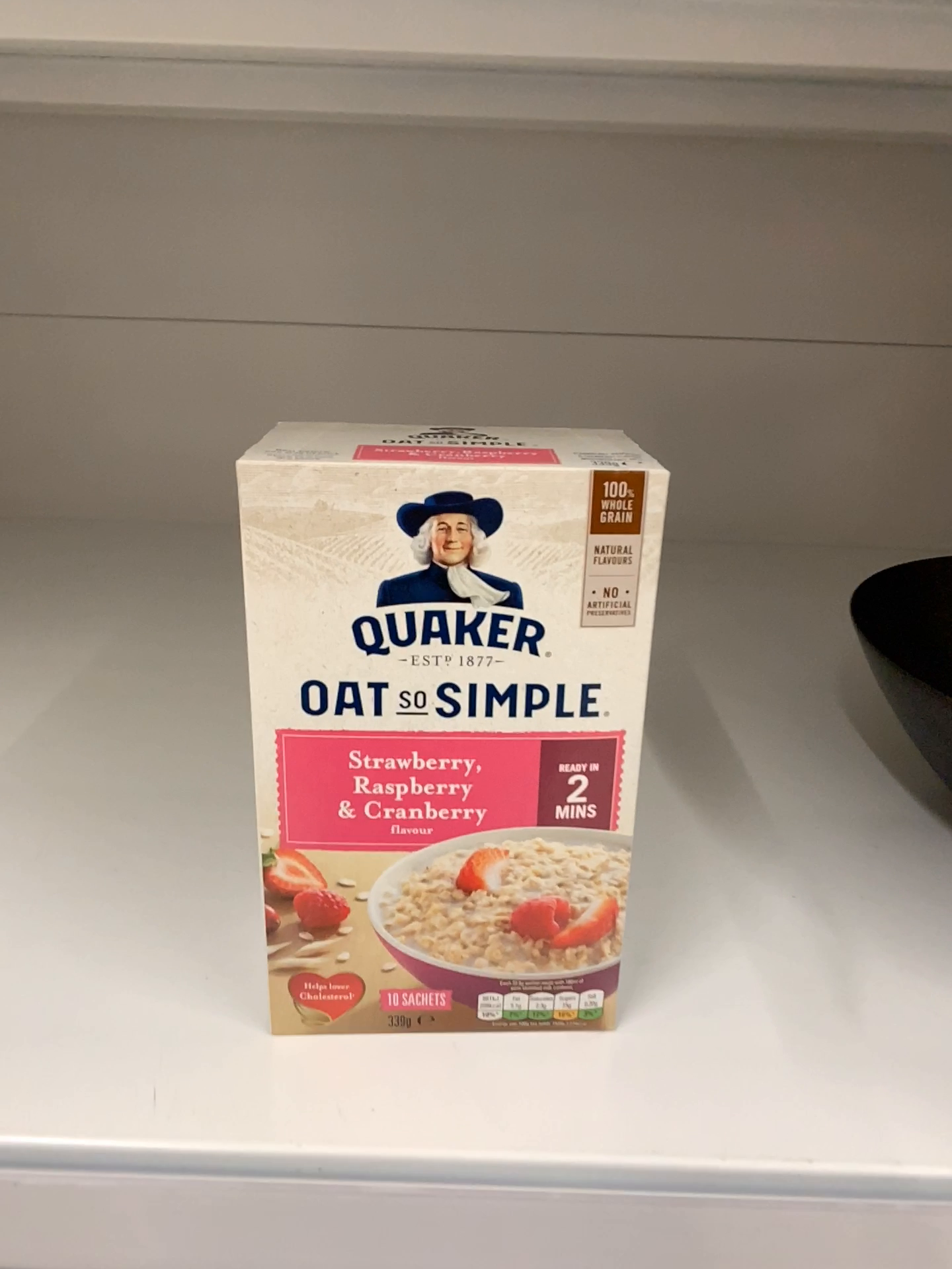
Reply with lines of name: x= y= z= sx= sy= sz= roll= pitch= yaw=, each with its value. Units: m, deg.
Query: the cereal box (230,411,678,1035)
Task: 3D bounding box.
cereal box: x=-0.011 y=0.032 z=0.358 sx=0.130 sy=0.208 sz=0.081 roll=1 pitch=20 yaw=-4
